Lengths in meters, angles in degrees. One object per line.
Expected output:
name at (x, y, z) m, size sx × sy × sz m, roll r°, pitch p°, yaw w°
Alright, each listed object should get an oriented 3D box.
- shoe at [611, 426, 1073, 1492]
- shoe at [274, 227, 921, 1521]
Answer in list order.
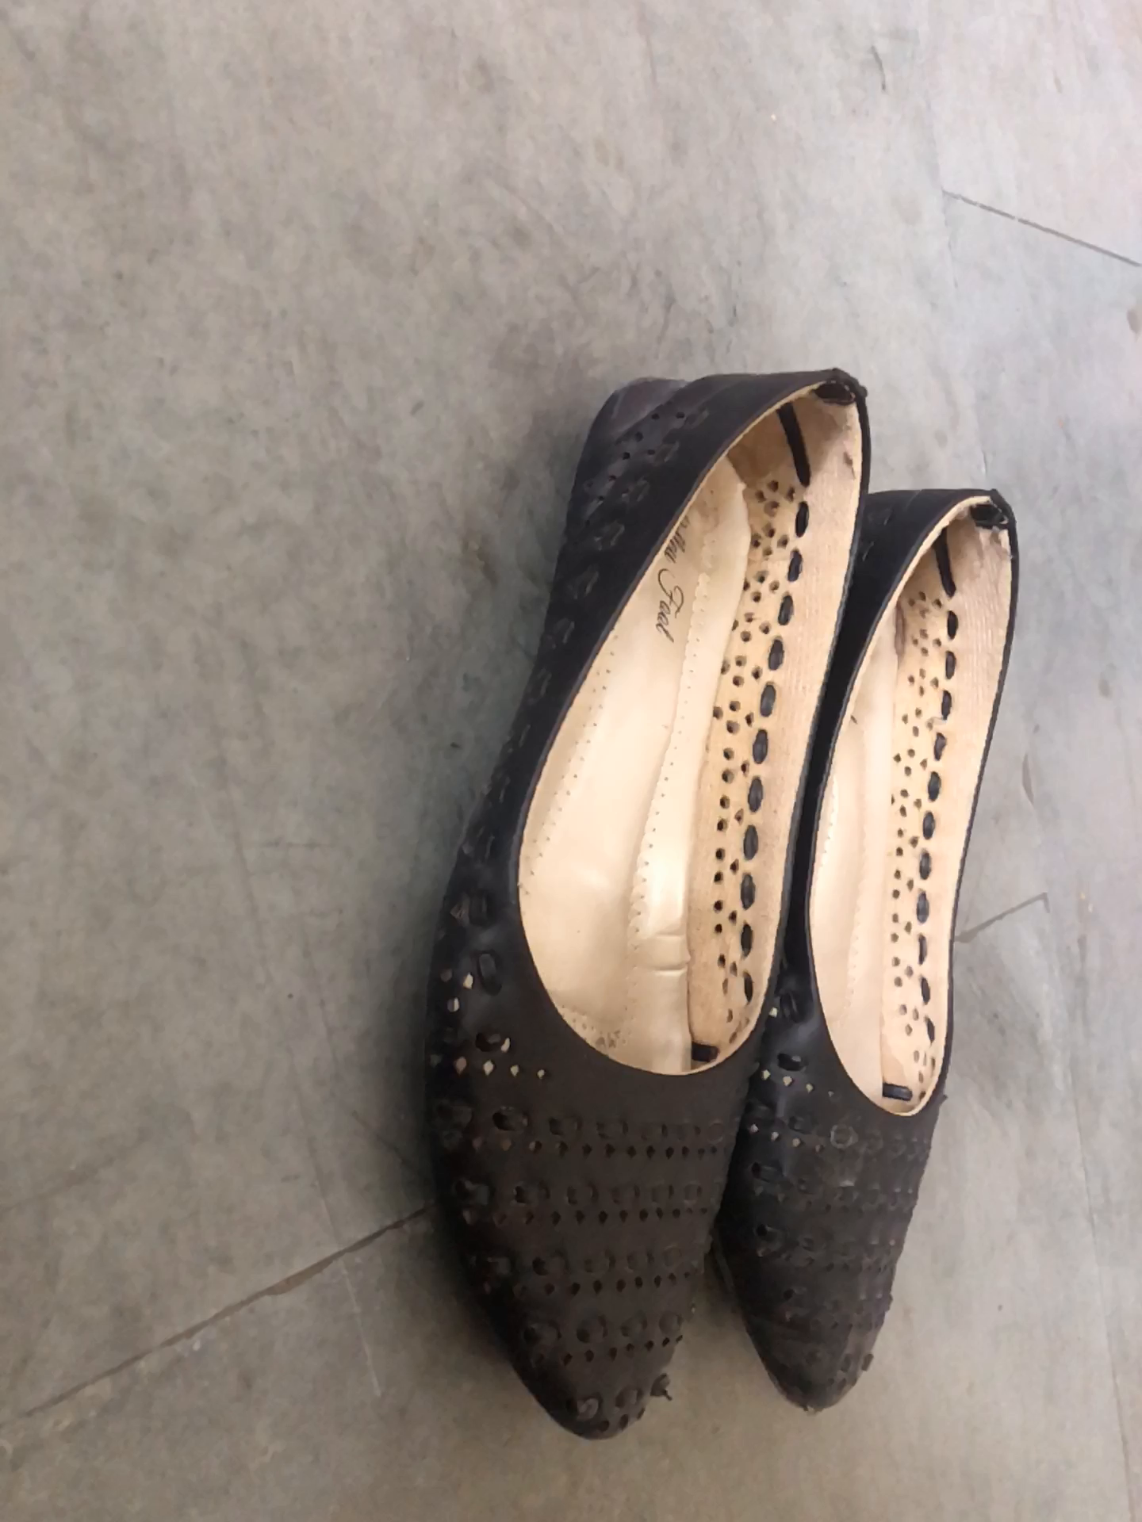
shoe at (0.080, 0.048, 0.347) m, size 0.096 × 0.073 × 0.242 m, roll 19°, pitch 72°, yaw -44°
shoe at (0.017, 0.026, 0.275) m, size 0.096 × 0.062 × 0.242 m, roll 22°, pitch 69°, yaw -43°
